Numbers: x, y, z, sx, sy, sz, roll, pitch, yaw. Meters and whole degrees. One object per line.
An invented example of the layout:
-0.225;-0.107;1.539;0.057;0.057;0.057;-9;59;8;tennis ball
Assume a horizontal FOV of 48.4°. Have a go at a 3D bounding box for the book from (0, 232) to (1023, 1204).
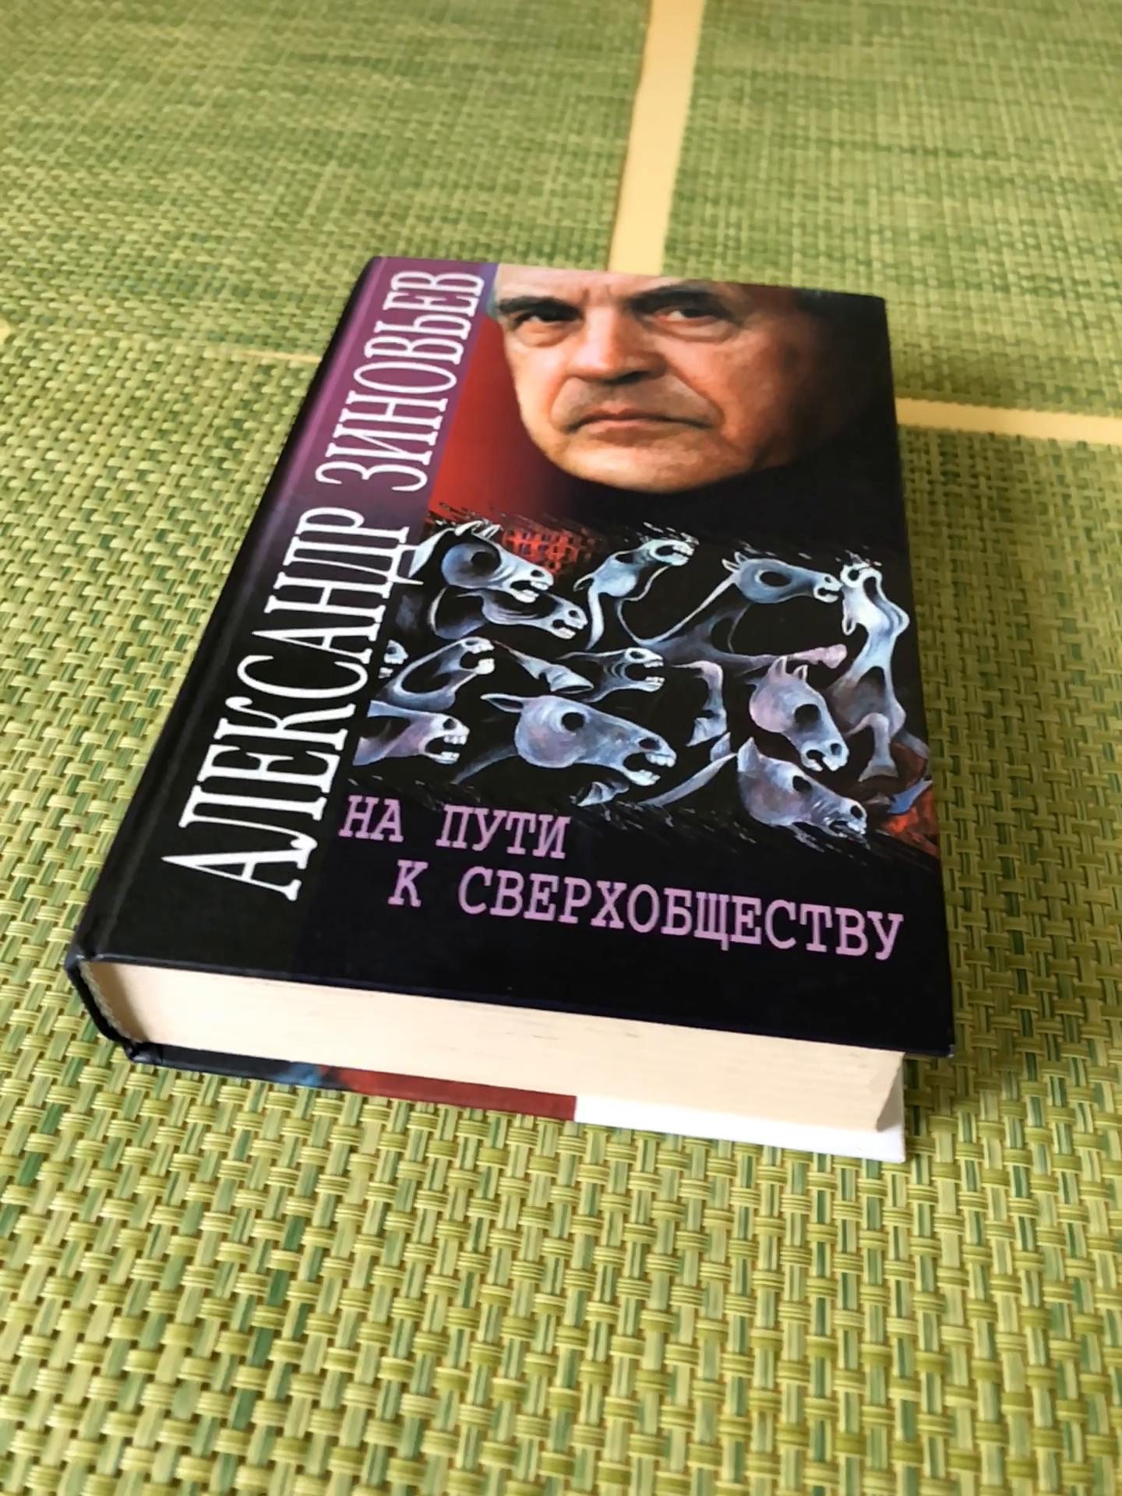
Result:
-0.003;-0.027;0.247;0.150;0.040;0.201;6;50;3;book
